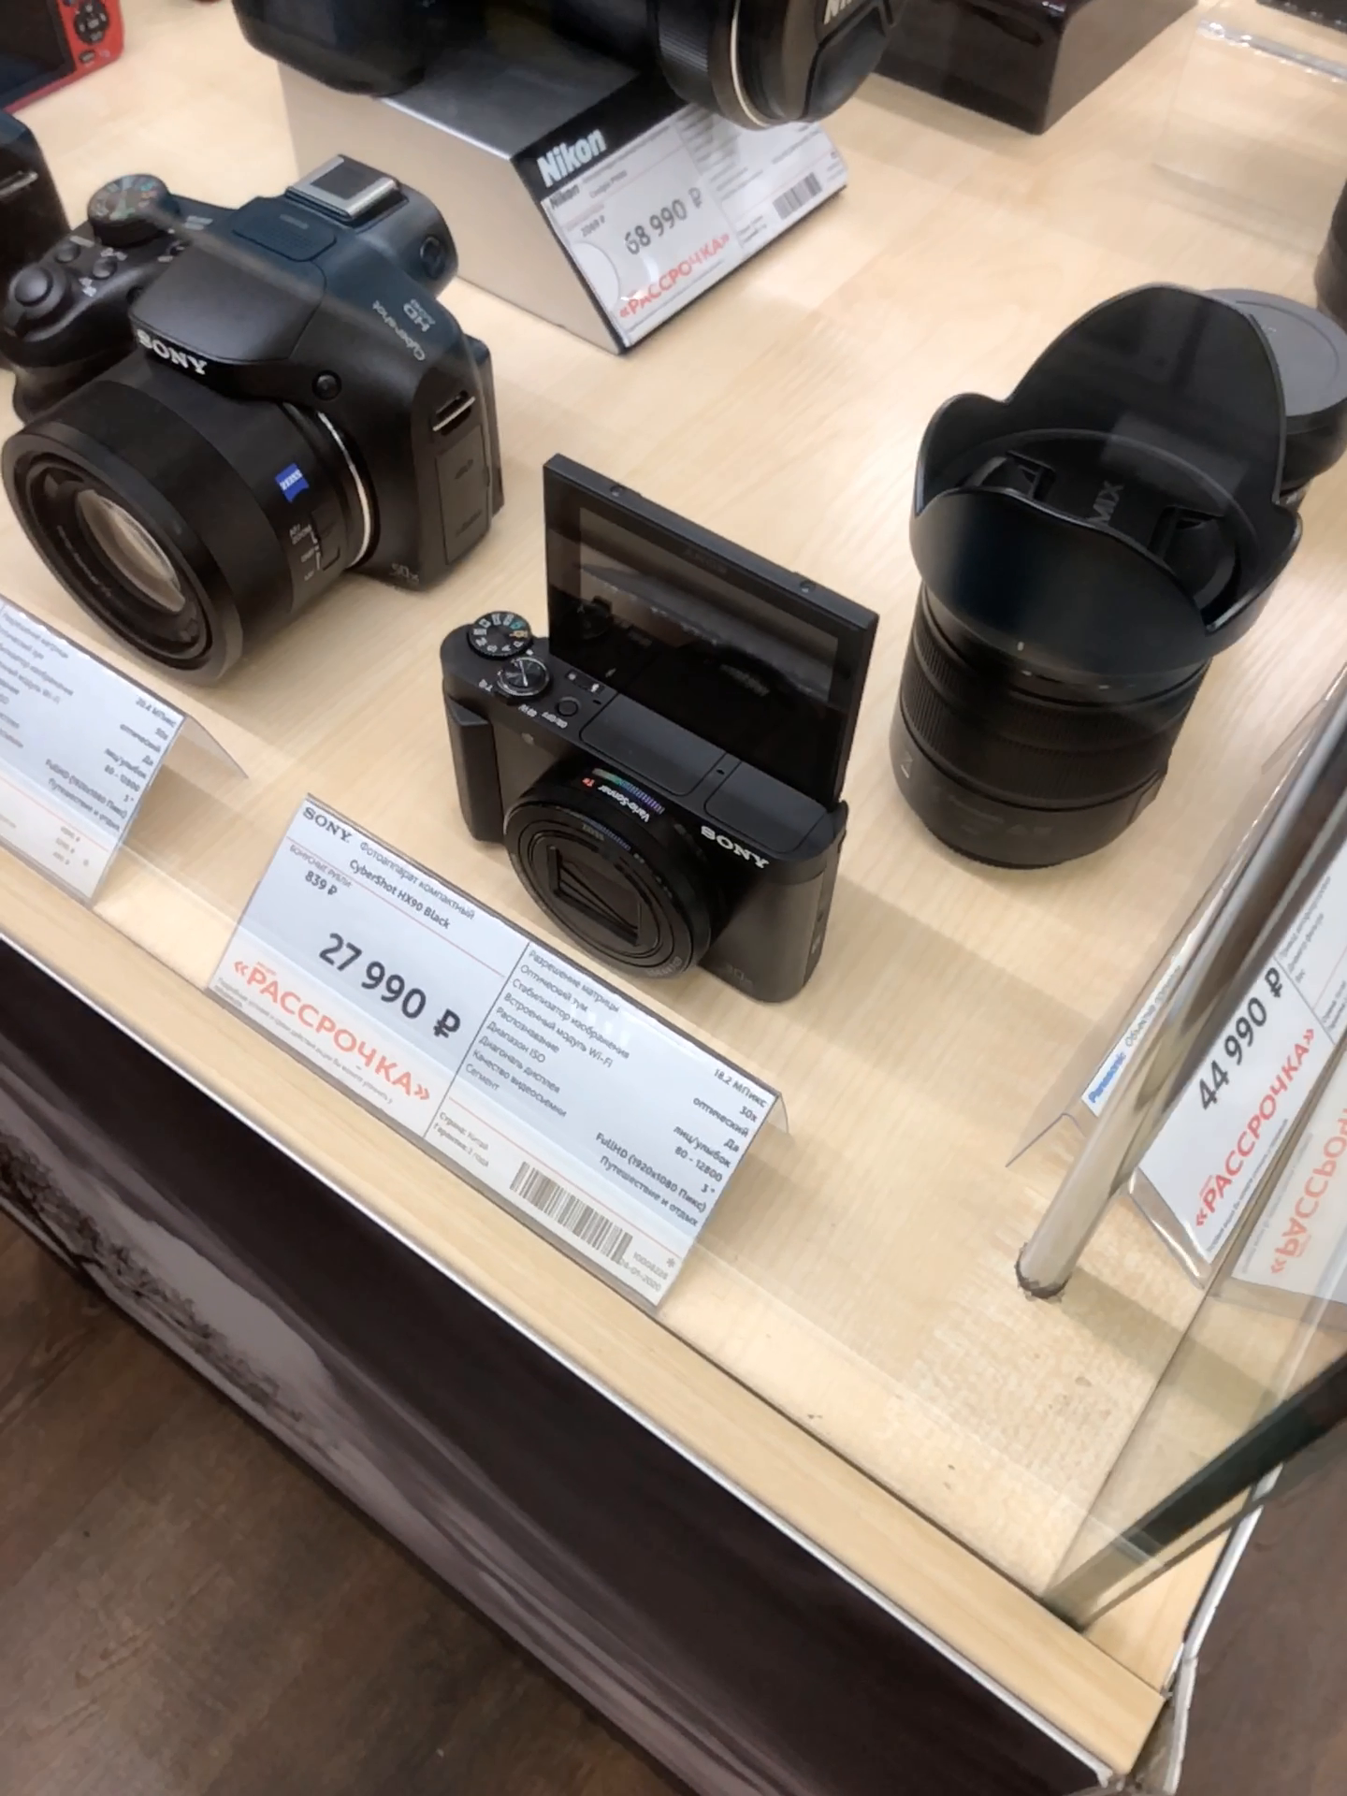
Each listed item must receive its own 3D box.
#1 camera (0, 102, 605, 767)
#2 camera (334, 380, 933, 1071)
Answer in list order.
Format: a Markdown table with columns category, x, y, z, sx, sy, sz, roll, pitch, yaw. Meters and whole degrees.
| category | x | y | z | sx | sy | sz | roll | pitch | yaw |
| --- | --- | --- | --- | --- | --- | --- | --- | --- | --- |
| camera | -0.114 | -0.134 | 0.415 | 0.132 | 0.078 | 0.136 | 31 | 60 | 19 |
| camera | -0.009 | -0.033 | 0.317 | 0.100 | 0.107 | 0.050 | 31 | 60 | 19 |
